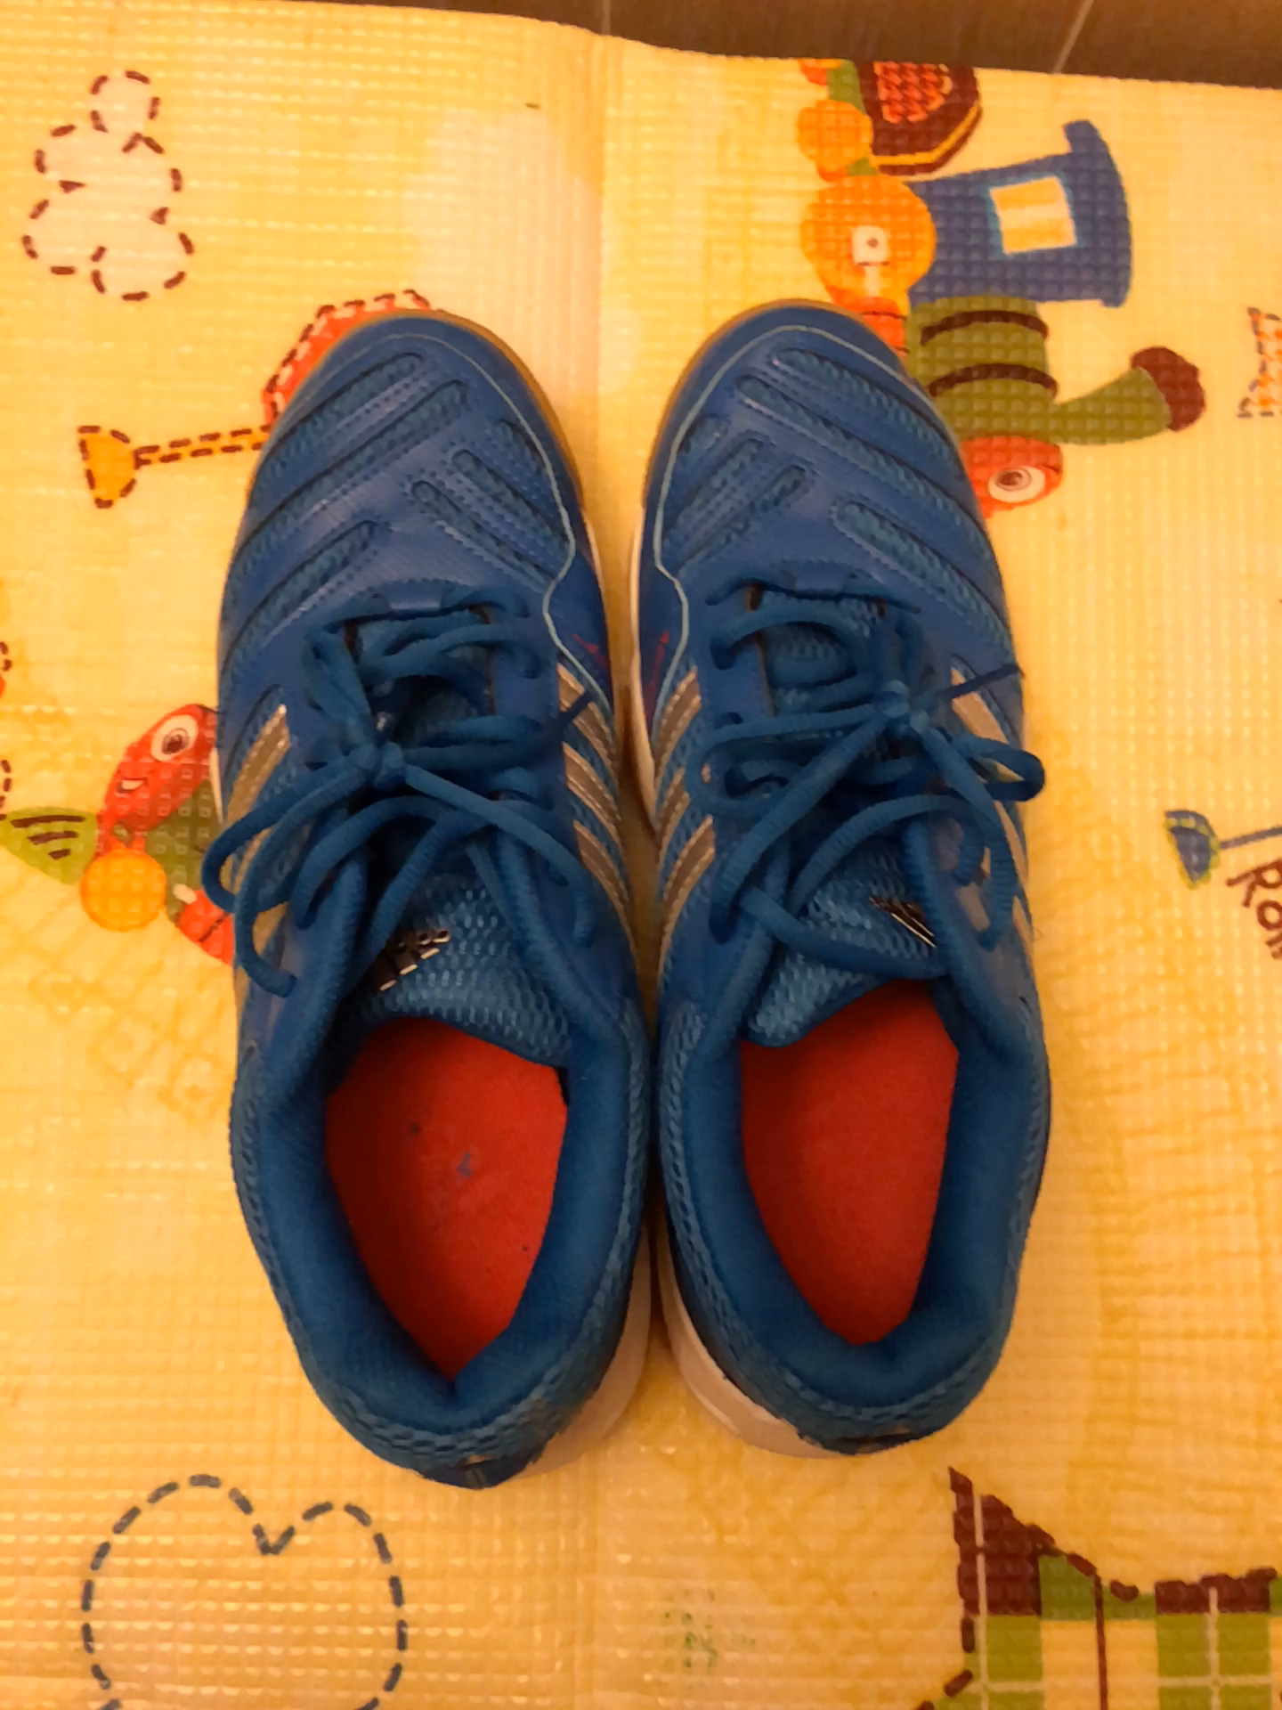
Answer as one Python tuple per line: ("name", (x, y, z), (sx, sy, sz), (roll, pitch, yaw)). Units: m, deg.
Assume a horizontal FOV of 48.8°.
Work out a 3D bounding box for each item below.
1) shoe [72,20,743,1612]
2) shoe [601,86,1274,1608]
("shoe", (-0.046, -0.010, 0.325), (0.110, 0.140, 0.290), (-2, 81, -2))
("shoe", (0.049, -0.006, 0.327), (0.110, 0.120, 0.290), (-1, 81, -2))
